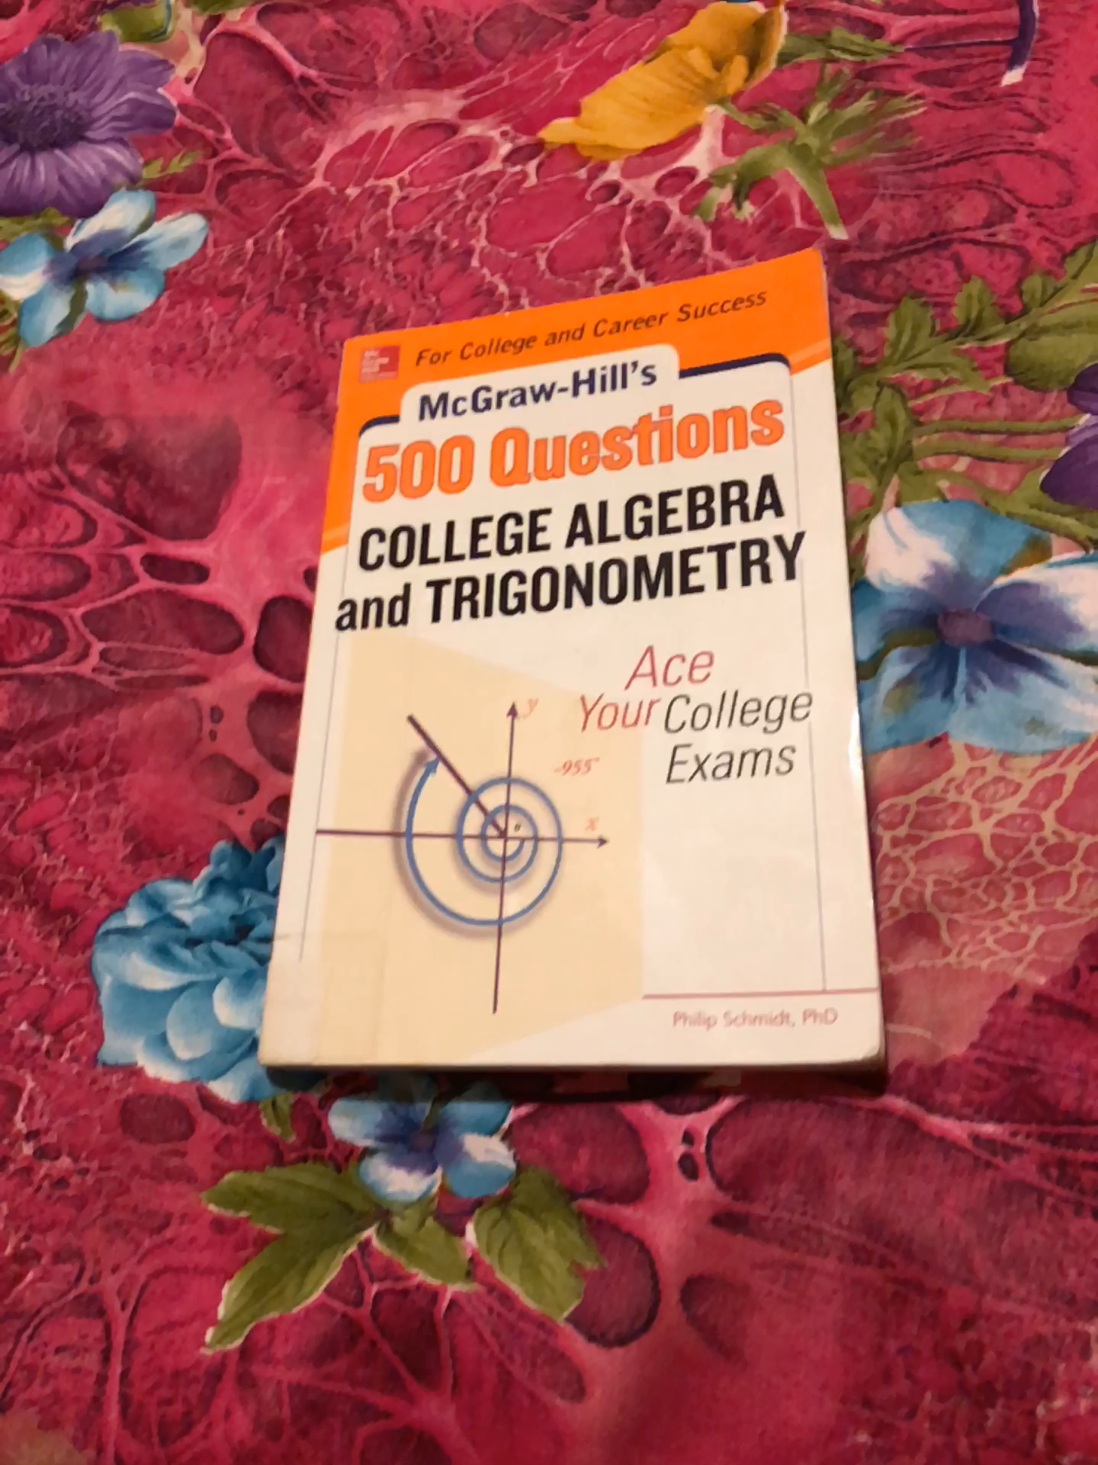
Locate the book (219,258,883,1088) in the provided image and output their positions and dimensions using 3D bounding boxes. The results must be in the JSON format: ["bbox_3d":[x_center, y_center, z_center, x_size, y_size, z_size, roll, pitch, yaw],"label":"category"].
[{"bbox_3d":[0.002,-0.021,0.328,0.156,0.022,0.220,-4,67,15],"label":"book"}]
